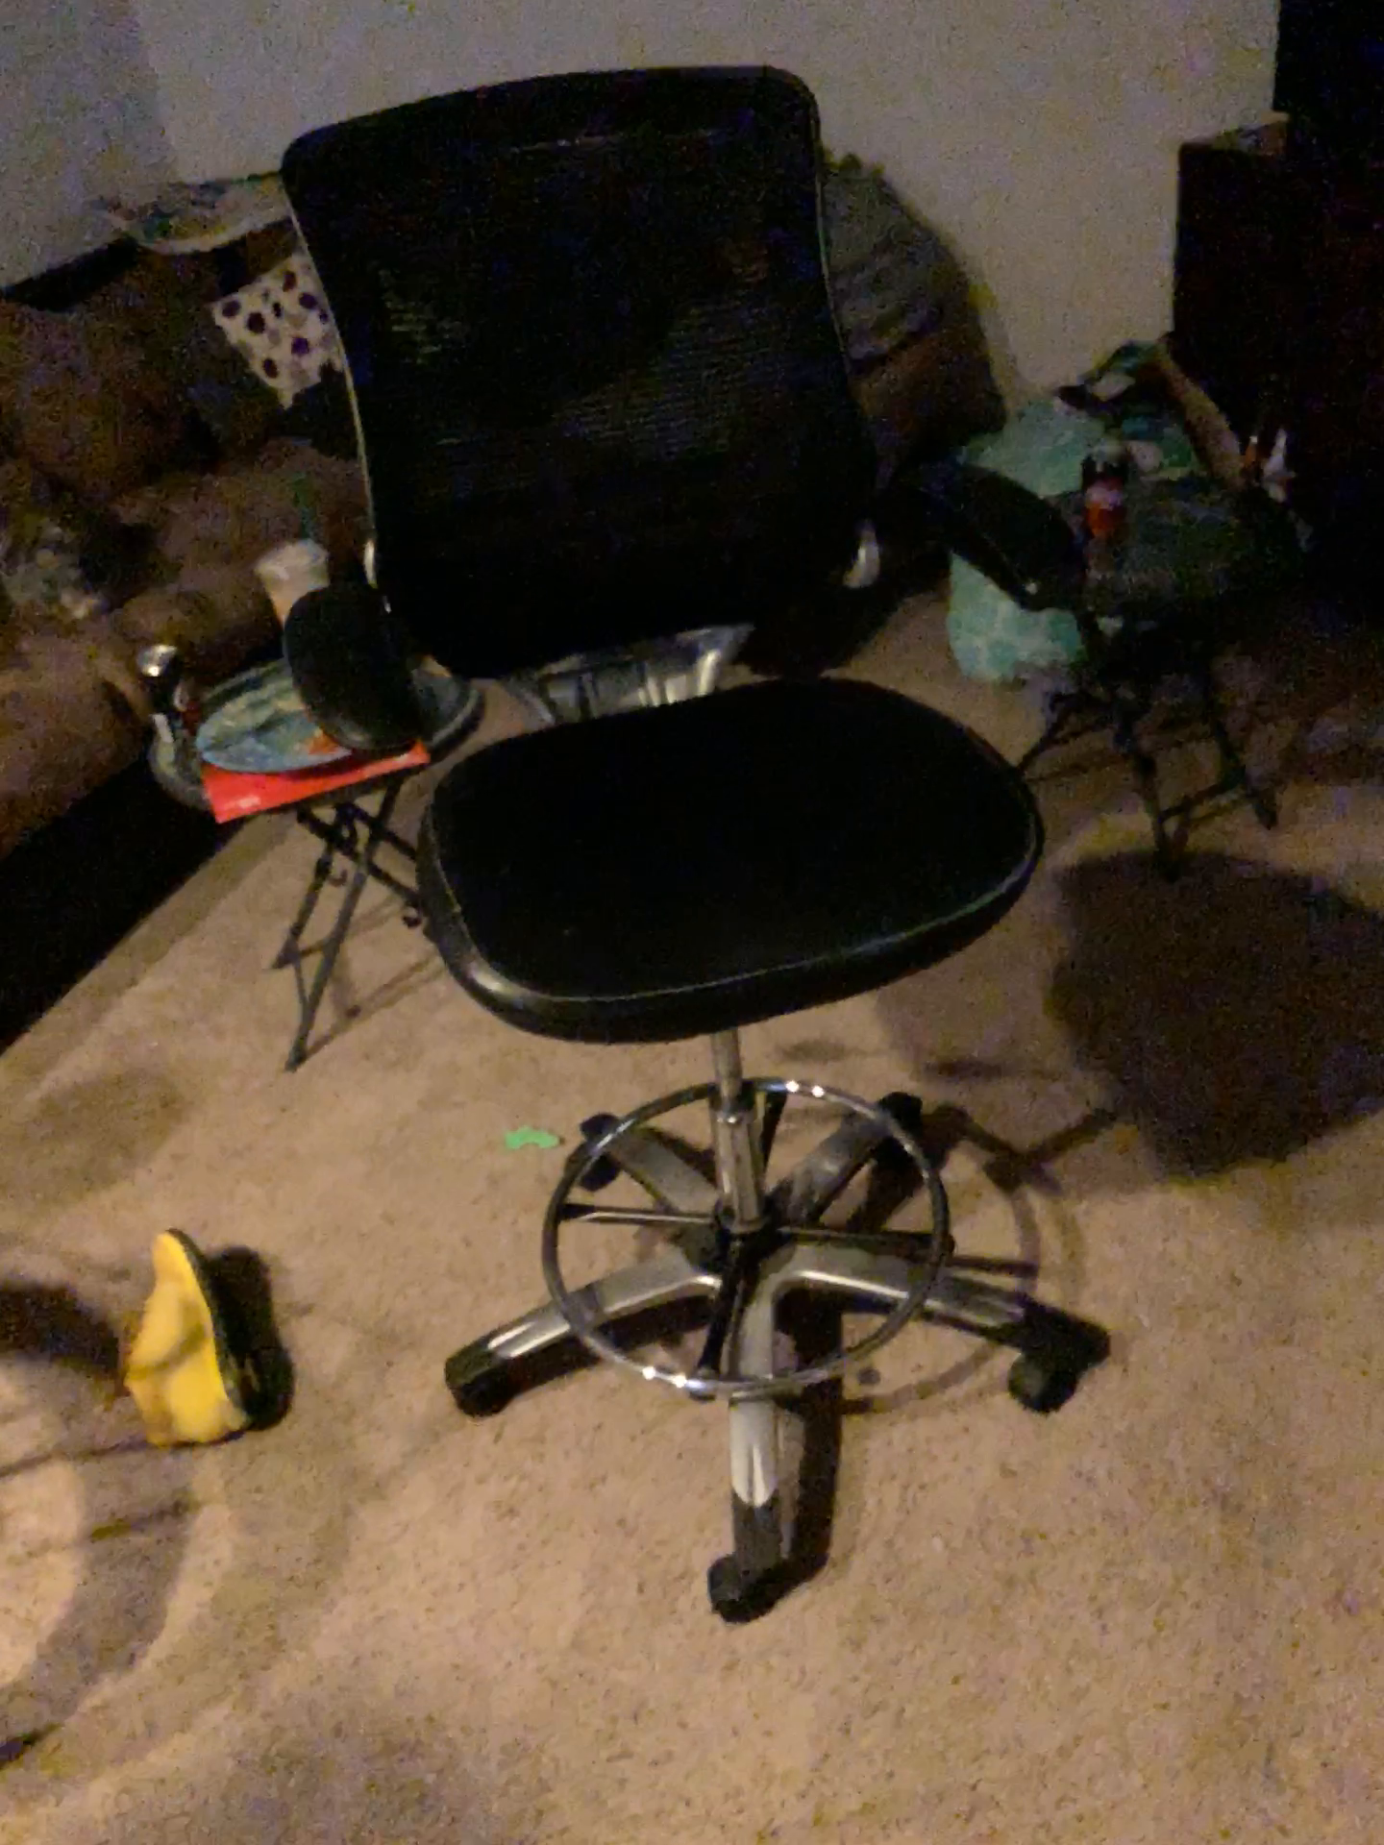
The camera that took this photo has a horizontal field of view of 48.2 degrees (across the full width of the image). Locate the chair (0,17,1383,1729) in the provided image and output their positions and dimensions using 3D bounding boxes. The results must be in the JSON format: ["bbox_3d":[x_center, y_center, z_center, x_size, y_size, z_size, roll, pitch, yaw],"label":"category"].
[{"bbox_3d":[-0.025,-0.102,1.466,0.760,1.170,0.930,-14,35,-9],"label":"chair"}]
